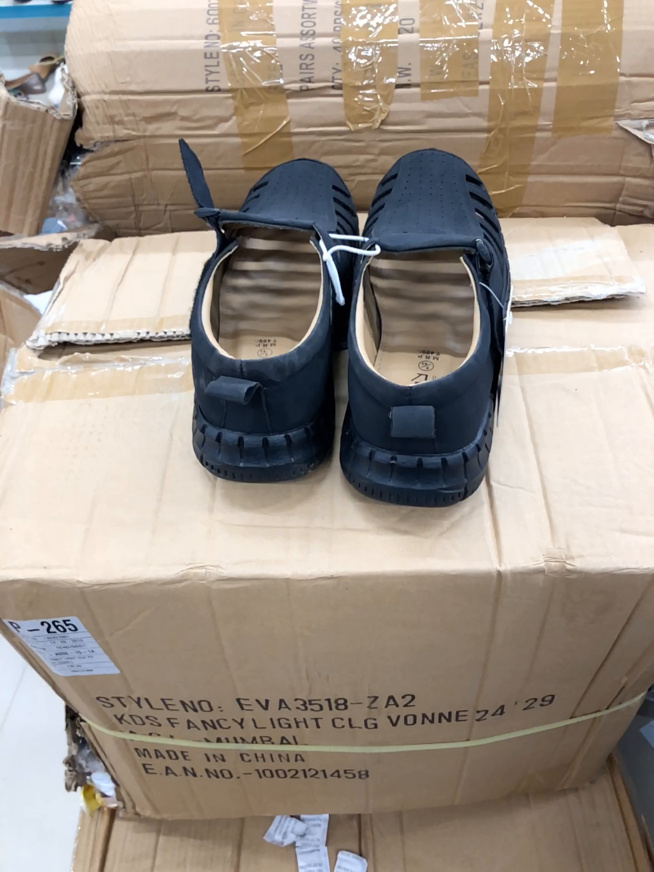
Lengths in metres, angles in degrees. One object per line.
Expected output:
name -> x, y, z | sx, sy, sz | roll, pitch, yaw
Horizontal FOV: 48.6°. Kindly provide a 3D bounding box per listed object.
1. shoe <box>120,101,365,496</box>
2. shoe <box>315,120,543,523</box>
shoe -> -0.032, -0.103, 0.459 | 0.110, 0.099, 0.282 | 0, 46, 3
shoe -> 0.062, -0.089, 0.448 | 0.100, 0.099, 0.272 | 3, 46, 6
